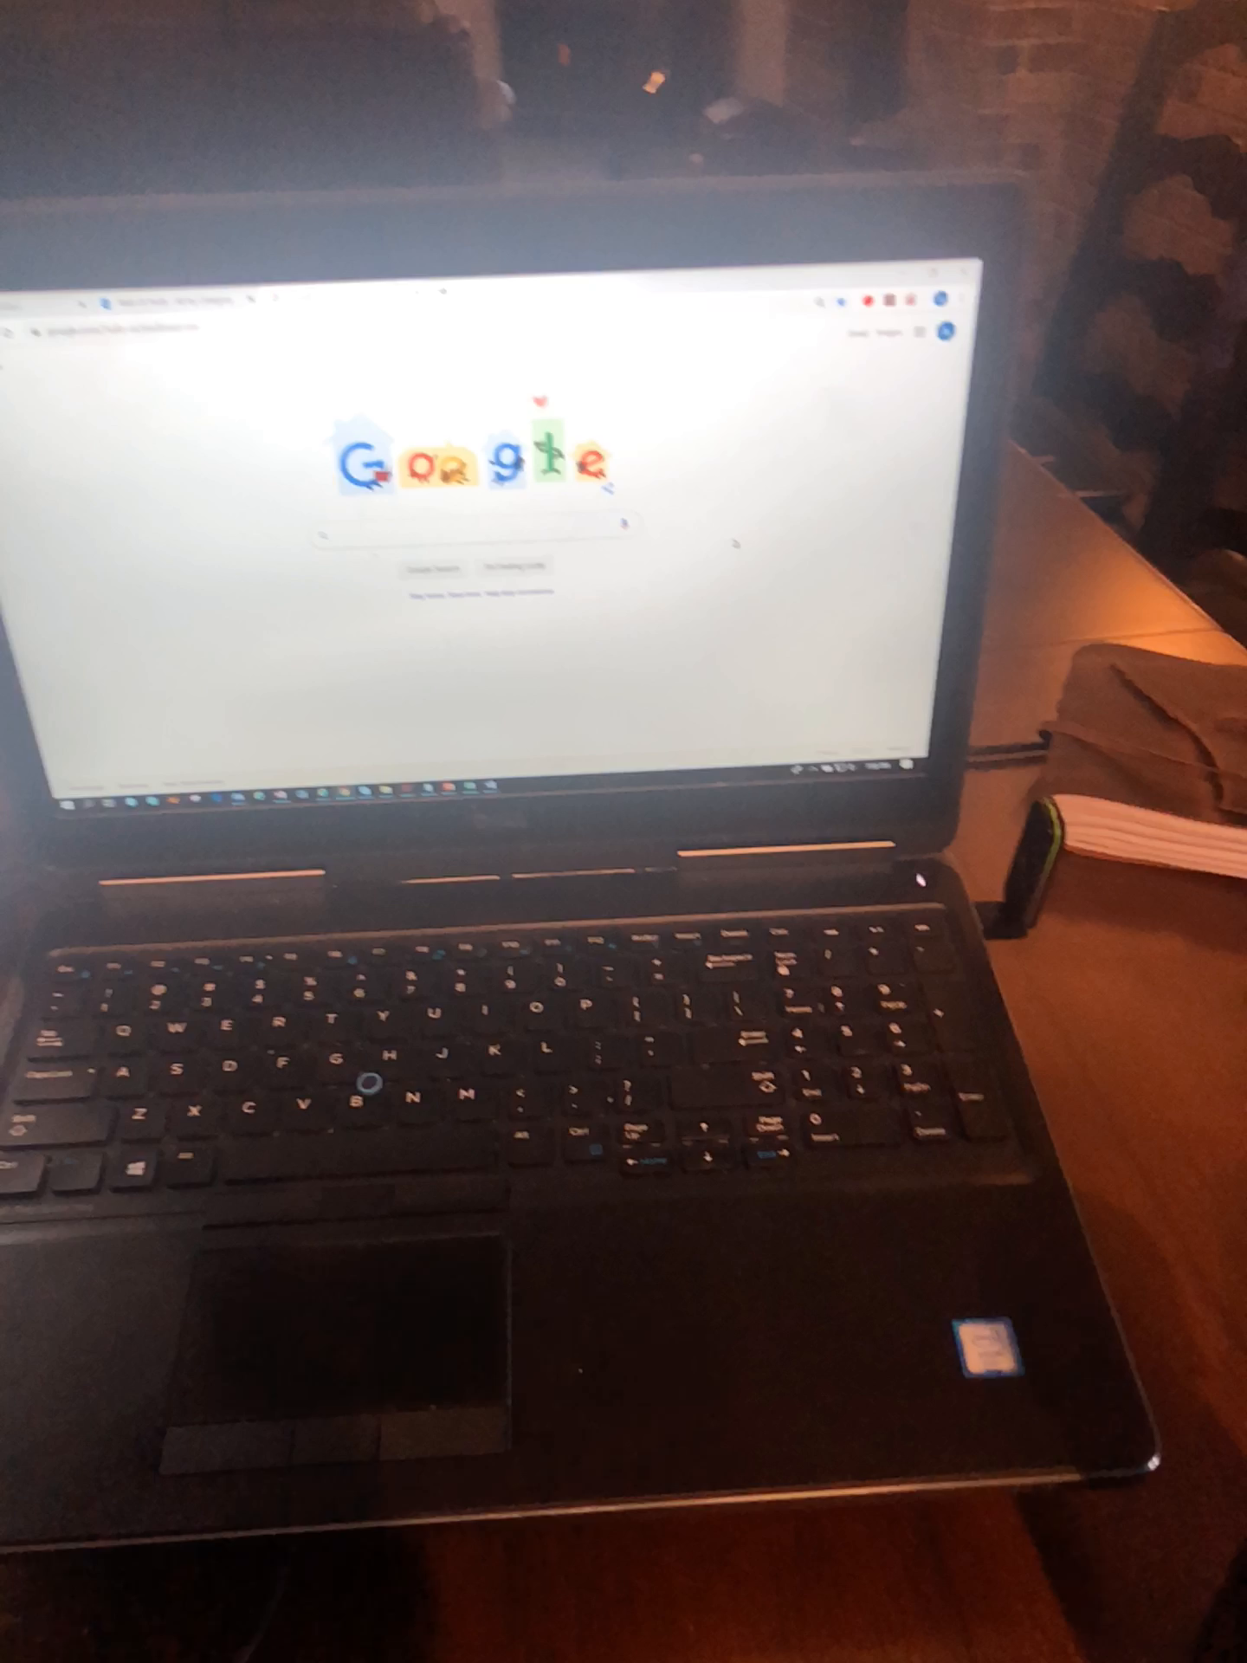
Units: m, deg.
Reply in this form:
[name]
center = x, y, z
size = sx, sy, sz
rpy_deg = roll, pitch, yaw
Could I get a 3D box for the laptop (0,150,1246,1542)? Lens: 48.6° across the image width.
[laptop]
center = -0.044, -0.018, 0.412
size = 0.367, 0.258, 0.287
rpy_deg = -2, 37, -2
